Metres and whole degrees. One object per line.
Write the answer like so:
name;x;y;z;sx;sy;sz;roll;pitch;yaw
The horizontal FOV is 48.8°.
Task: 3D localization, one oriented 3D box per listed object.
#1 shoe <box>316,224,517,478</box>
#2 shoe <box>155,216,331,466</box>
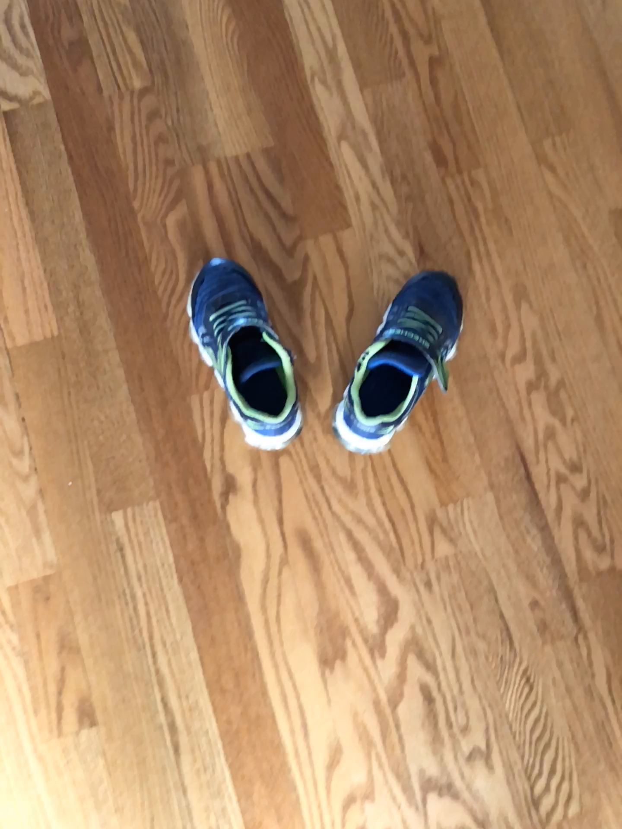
shoe;0.097;-0.056;0.660;0.093;0.087;0.212;28;82;2
shoe;-0.063;-0.065;0.659;0.093;0.095;0.203;-20;83;-5
